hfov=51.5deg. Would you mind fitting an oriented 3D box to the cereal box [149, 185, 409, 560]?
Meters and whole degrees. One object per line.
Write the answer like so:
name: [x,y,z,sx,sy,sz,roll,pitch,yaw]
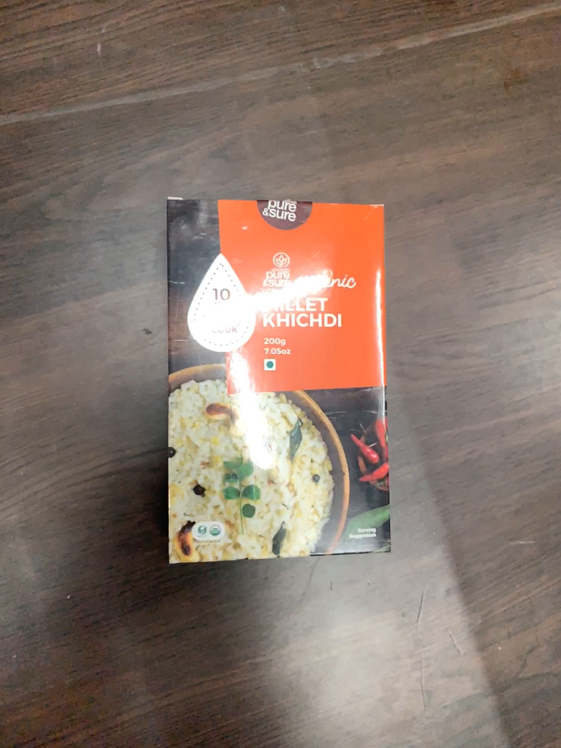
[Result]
cereal box: [-0.002,-0.002,0.274,0.110,0.040,0.160,-1,87,-7]
